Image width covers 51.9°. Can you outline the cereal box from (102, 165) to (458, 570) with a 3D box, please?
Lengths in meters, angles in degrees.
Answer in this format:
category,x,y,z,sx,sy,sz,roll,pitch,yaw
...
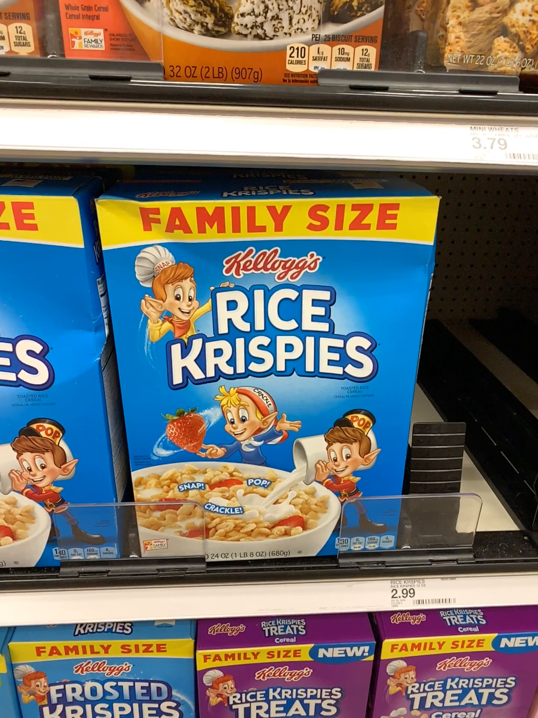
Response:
category,x,y,z,sx,sy,sz,roll,pitch,yaw
cereal box,0.001,0.015,0.503,0.250,0.348,0.101,-1,25,-7
